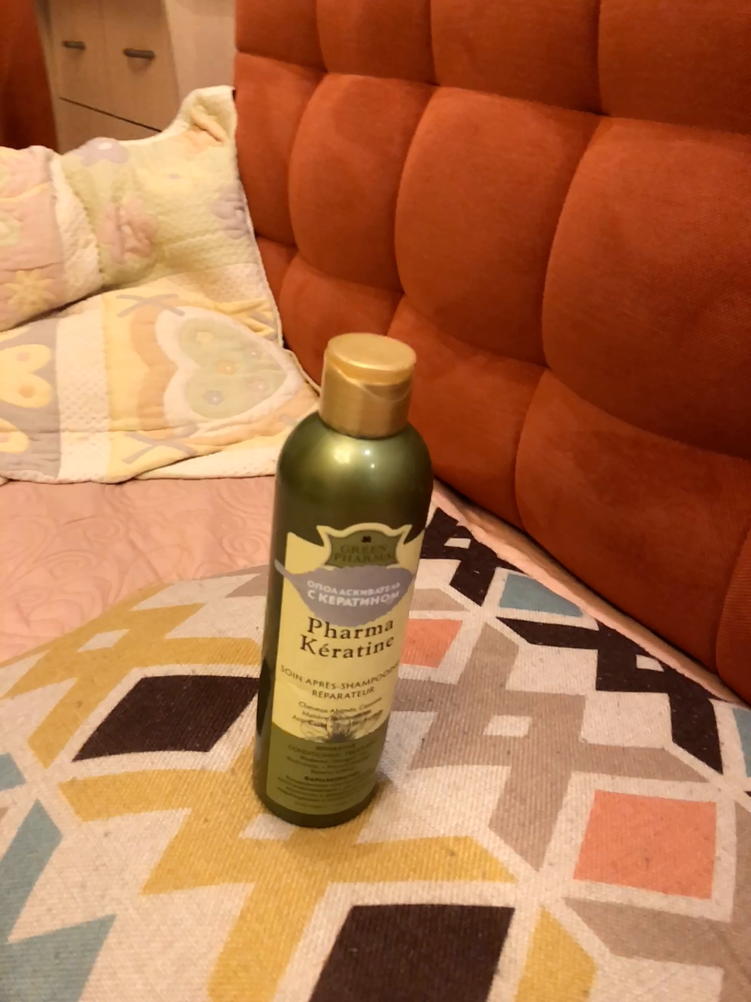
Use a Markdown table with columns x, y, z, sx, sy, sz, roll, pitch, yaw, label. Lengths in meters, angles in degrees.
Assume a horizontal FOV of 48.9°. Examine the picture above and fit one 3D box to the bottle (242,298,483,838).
| x | y | z | sx | sy | sz | roll | pitch | yaw | label |
| --- | --- | --- | --- | --- | --- | --- | --- | --- | --- |
| -0.015 | 0.028 | 0.294 | 0.060 | 0.179 | 0.070 | 0 | 30 | -11 | bottle |
